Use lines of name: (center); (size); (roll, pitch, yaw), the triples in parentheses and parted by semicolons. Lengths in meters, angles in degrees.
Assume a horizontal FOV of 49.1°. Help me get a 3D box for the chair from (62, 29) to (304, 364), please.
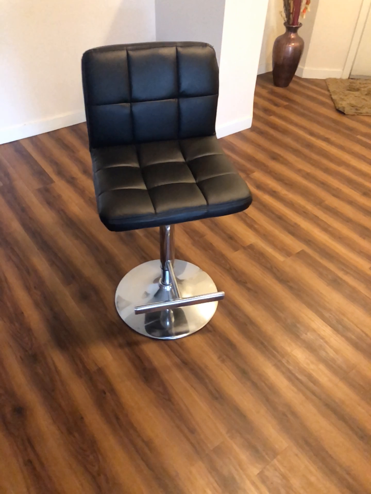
chair: (-0.066, -0.148, 1.415); (0.534, 0.952, 0.571); (-8, 44, -11)
